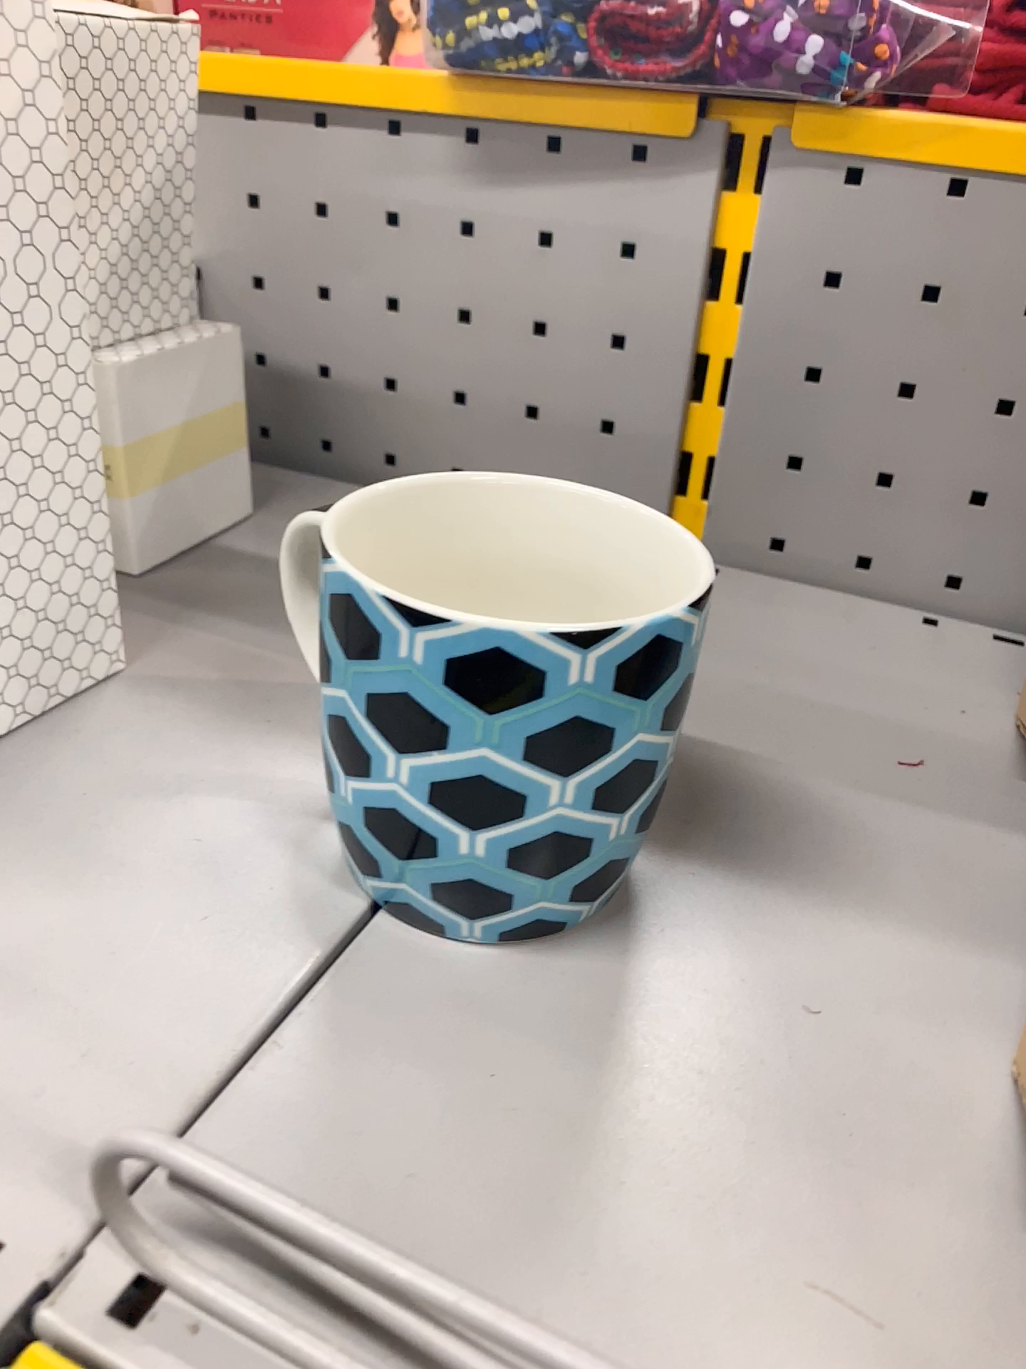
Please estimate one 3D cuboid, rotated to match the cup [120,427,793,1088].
[{"bbox_3d":[-0.017,0.005,0.256,0.120,0.090,0.090,28,37,35],"label":"cup"}]
